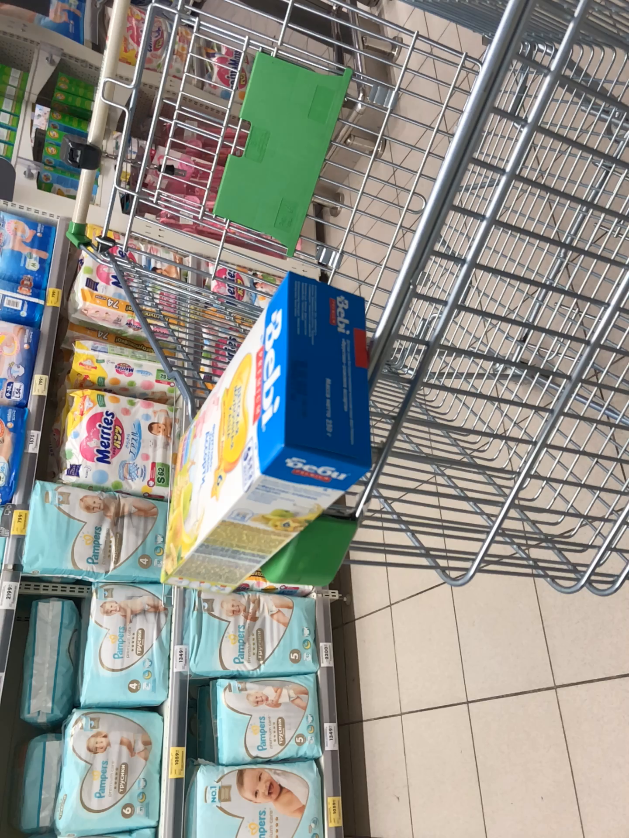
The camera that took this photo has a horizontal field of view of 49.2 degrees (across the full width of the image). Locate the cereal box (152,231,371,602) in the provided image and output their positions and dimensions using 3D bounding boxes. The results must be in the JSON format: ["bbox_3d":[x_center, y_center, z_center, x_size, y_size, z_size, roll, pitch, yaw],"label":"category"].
[{"bbox_3d":[-0.041,0.010,0.449,0.211,0.050,0.150,-48,32,48],"label":"cereal box"}]
